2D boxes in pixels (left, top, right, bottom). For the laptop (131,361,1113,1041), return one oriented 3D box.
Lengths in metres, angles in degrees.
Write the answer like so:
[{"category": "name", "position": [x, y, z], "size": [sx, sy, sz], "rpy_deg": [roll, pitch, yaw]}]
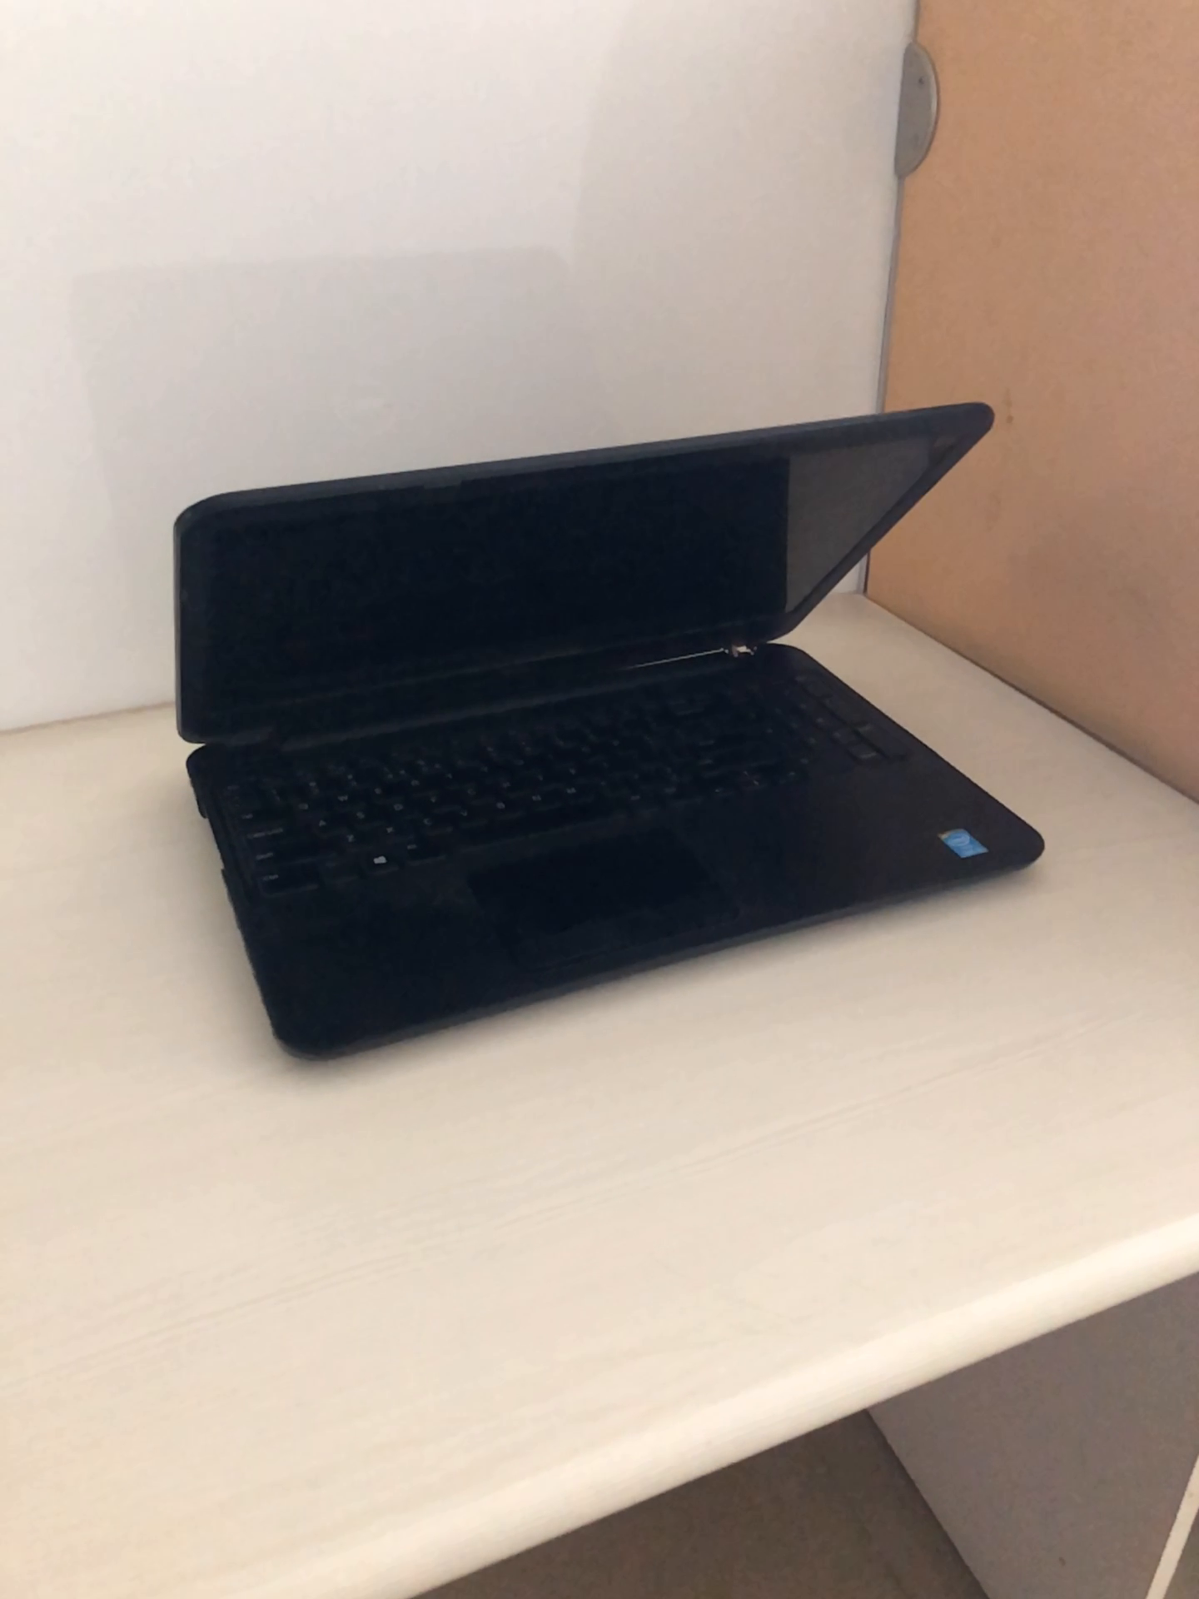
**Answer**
[{"category": "laptop", "position": [-0.001, -0.078, 0.626], "size": [0.365, 0.177, 0.248], "rpy_deg": [-11, 33, -22]}]
